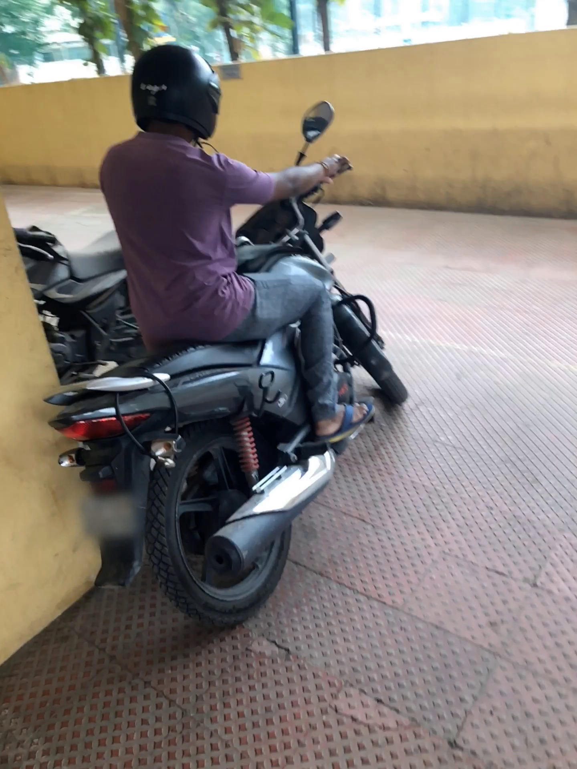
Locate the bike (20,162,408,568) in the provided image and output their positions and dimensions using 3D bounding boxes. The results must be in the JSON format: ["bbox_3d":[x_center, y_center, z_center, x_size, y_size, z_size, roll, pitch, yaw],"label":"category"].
[{"bbox_3d":[-0.087,-0.190,2.289,0.700,1.000,1.243,7,29,24],"label":"bike"}]
